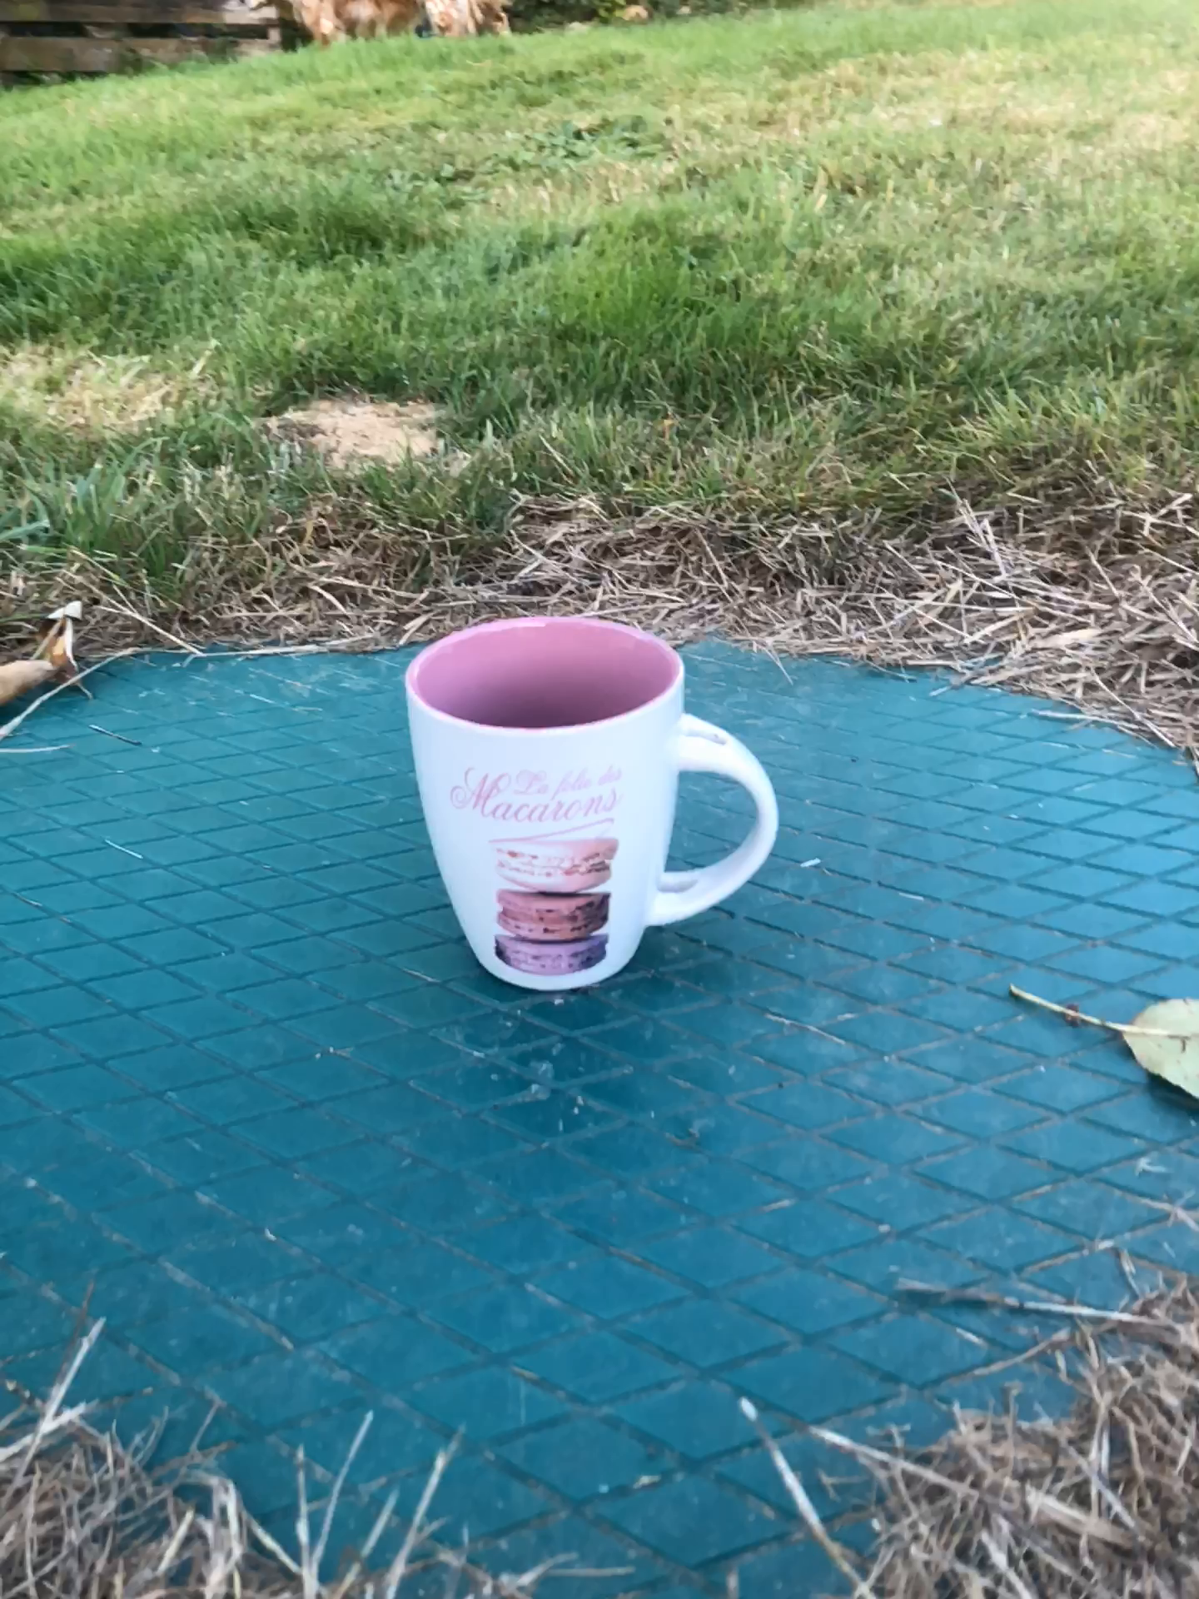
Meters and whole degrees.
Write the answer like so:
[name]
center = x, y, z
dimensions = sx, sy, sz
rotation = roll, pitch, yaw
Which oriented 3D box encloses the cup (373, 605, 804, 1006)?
[cup]
center = 0.000, -0.001, 0.429
dimensions = 0.120, 0.091, 0.095
rotation = -3, 29, 2
